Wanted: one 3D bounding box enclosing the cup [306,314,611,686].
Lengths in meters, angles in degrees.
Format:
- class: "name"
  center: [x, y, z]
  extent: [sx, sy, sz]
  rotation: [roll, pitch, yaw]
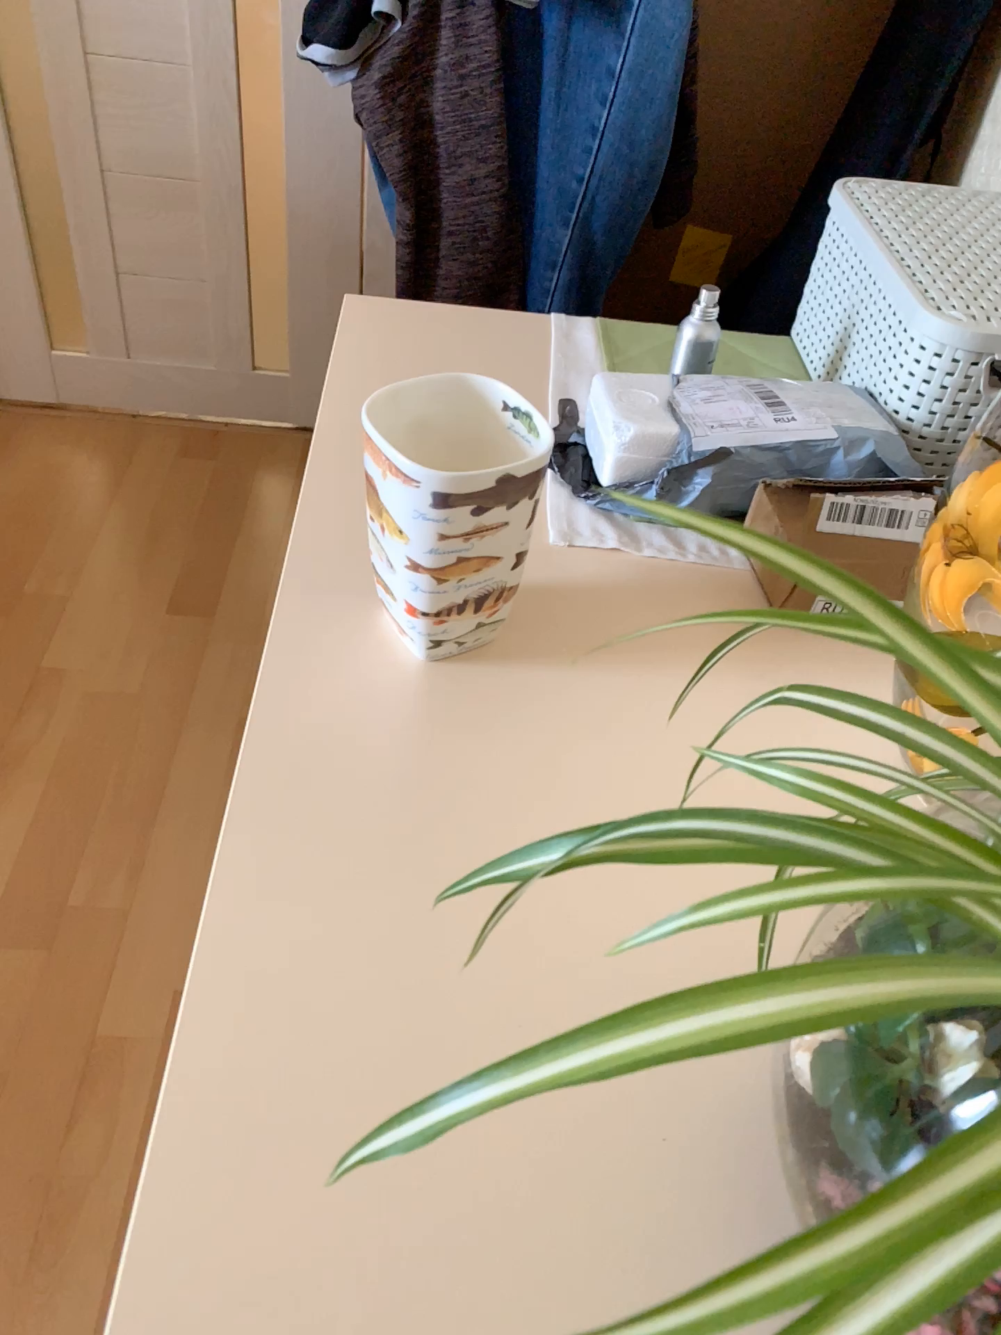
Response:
- class: "cup"
  center: [-0.031, -0.095, 0.563]
  extent: [0.100, 0.129, 0.141]
  rotation: [-18, 50, -26]
